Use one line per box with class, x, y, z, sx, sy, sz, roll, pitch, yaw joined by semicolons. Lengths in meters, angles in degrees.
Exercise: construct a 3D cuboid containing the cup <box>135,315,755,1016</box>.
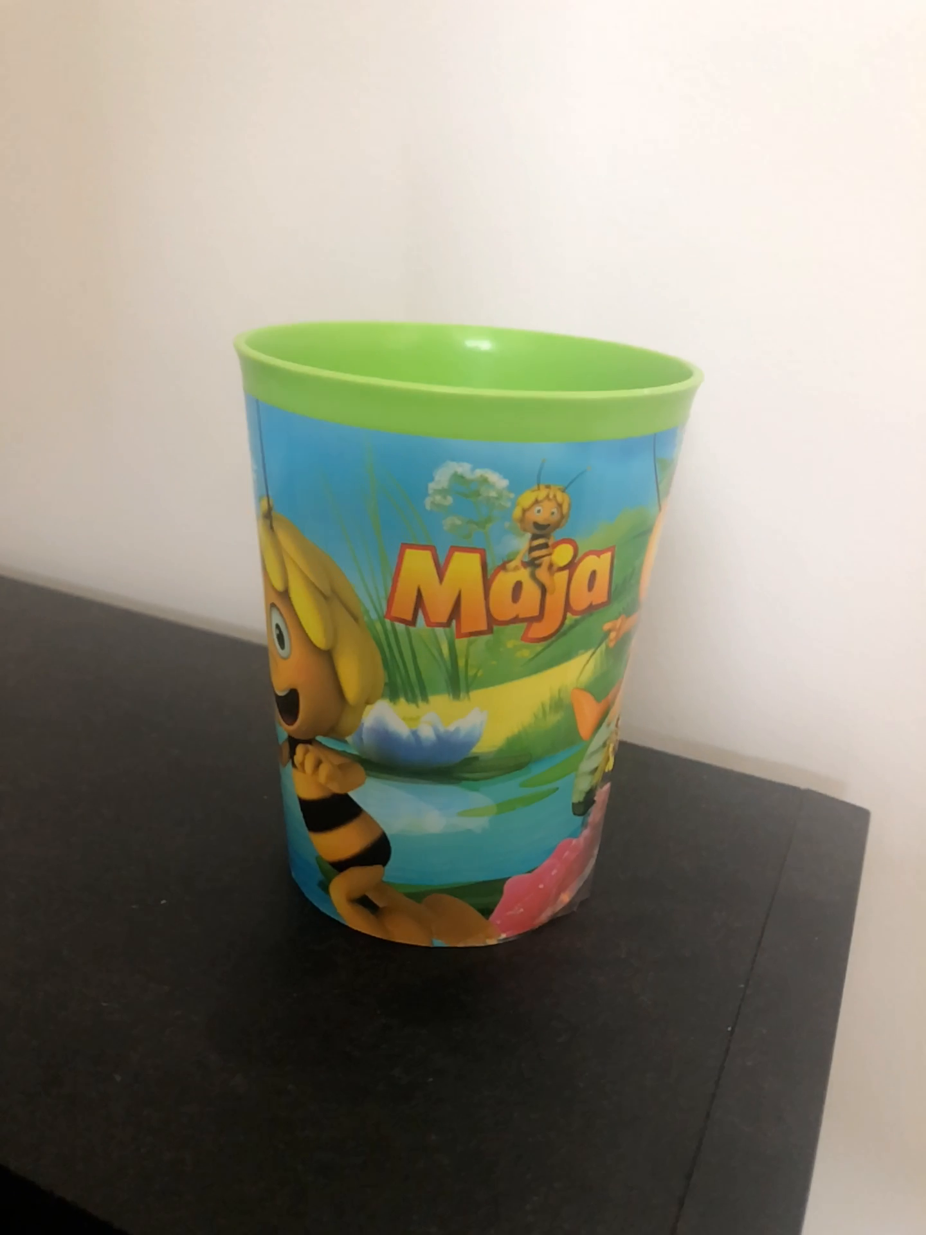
cup;0.001;-0.002;0.189;0.080;0.090;0.080;4;21;-2
